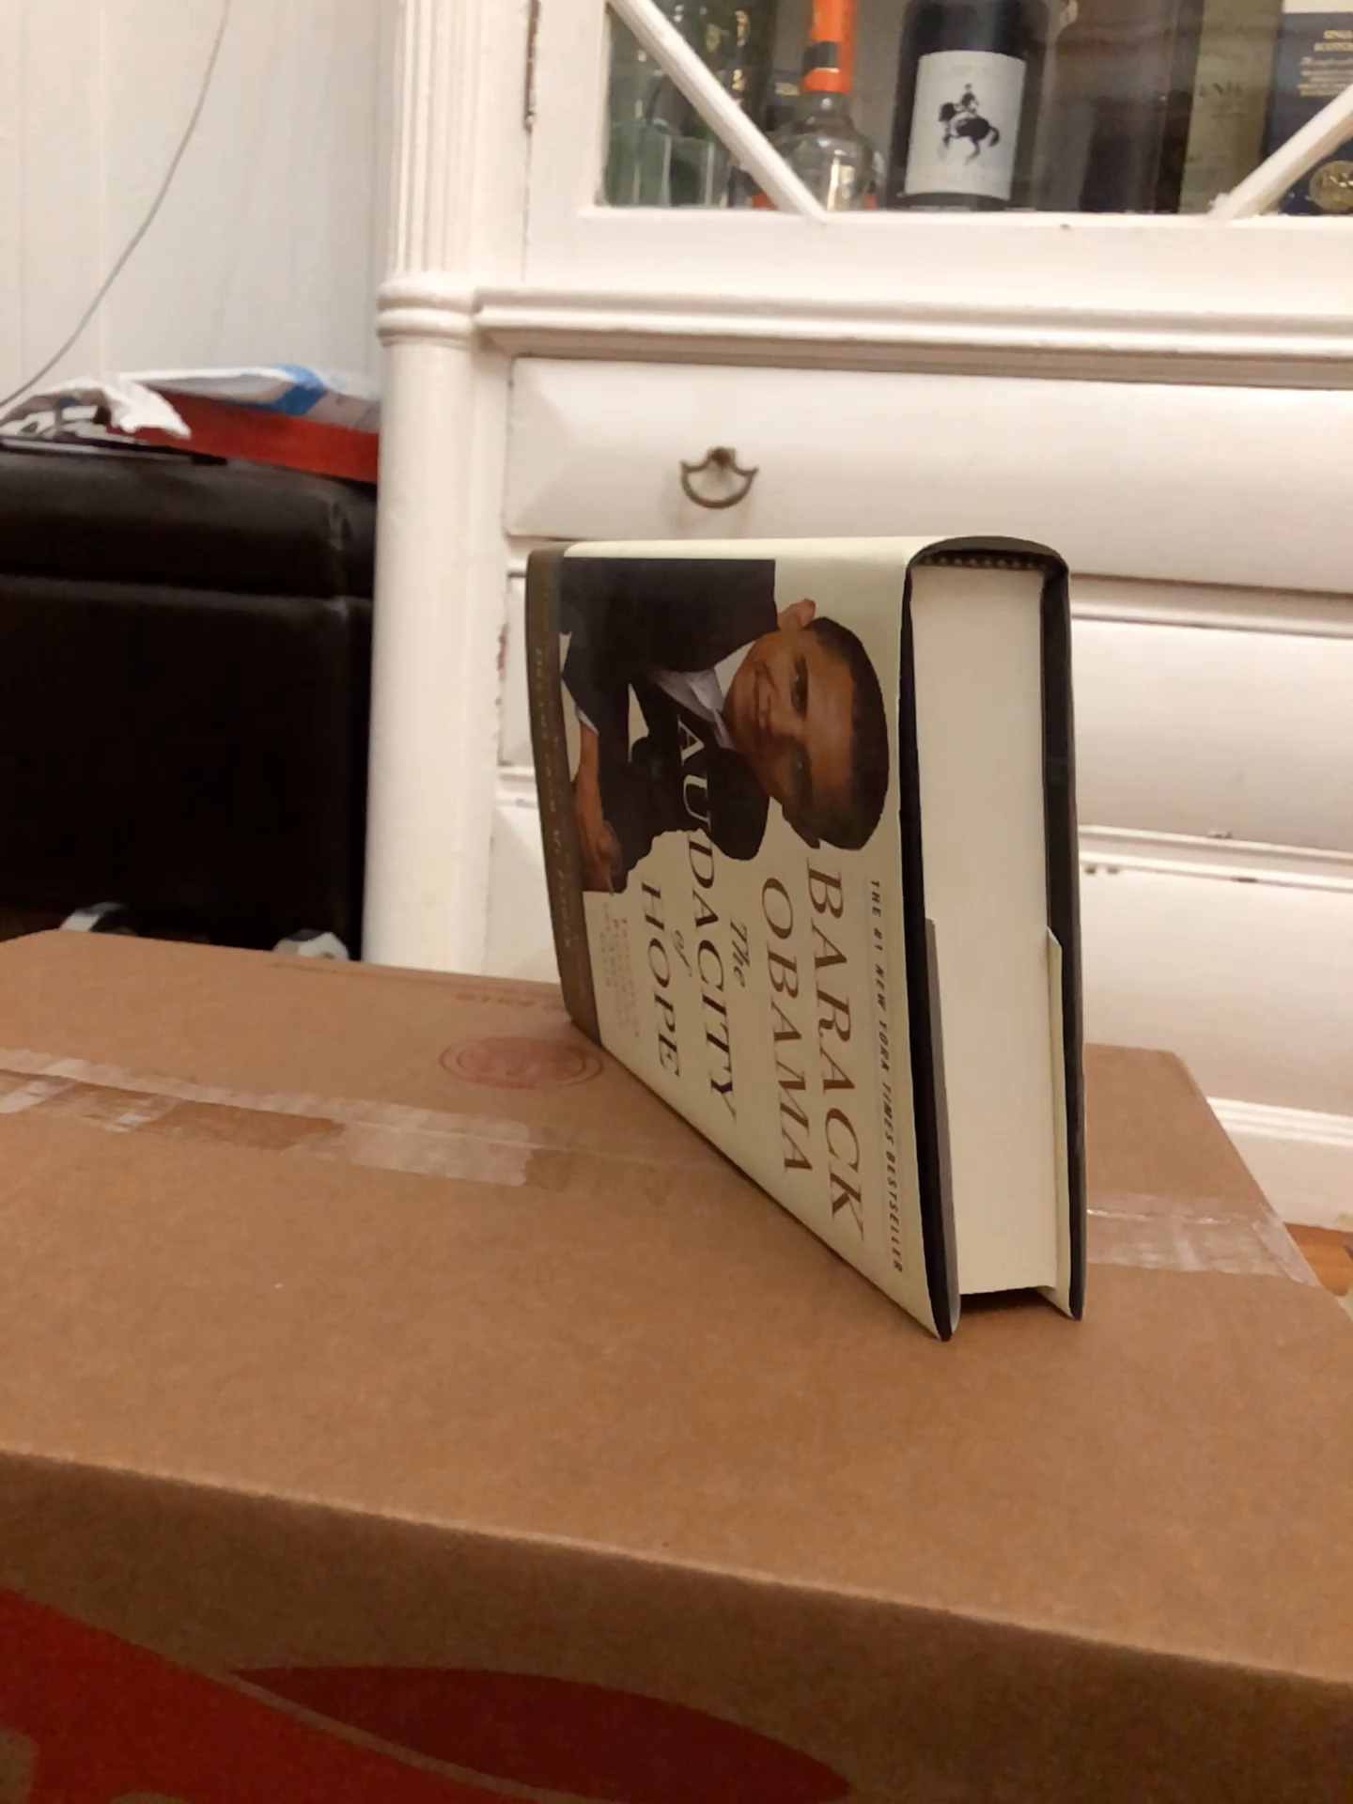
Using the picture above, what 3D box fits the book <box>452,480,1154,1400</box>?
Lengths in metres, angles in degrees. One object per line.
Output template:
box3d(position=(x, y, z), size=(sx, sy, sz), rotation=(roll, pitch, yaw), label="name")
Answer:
box3d(position=(0.014, -0.013, 0.398), size=(0.060, 0.169, 0.250), rotation=(-12, 15, -22), label="book")
